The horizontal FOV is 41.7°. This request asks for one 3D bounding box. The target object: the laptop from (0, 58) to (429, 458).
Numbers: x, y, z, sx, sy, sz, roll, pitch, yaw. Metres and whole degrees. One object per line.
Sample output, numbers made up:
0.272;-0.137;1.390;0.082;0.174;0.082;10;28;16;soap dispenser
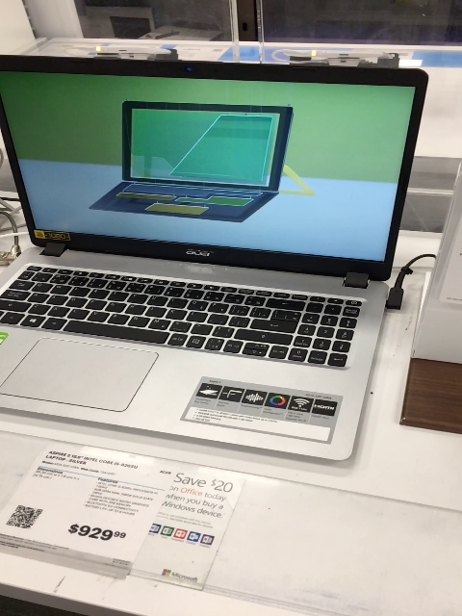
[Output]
-0.071;-0.064;0.541;0.412;0.221;0.278;8;46;14;laptop
